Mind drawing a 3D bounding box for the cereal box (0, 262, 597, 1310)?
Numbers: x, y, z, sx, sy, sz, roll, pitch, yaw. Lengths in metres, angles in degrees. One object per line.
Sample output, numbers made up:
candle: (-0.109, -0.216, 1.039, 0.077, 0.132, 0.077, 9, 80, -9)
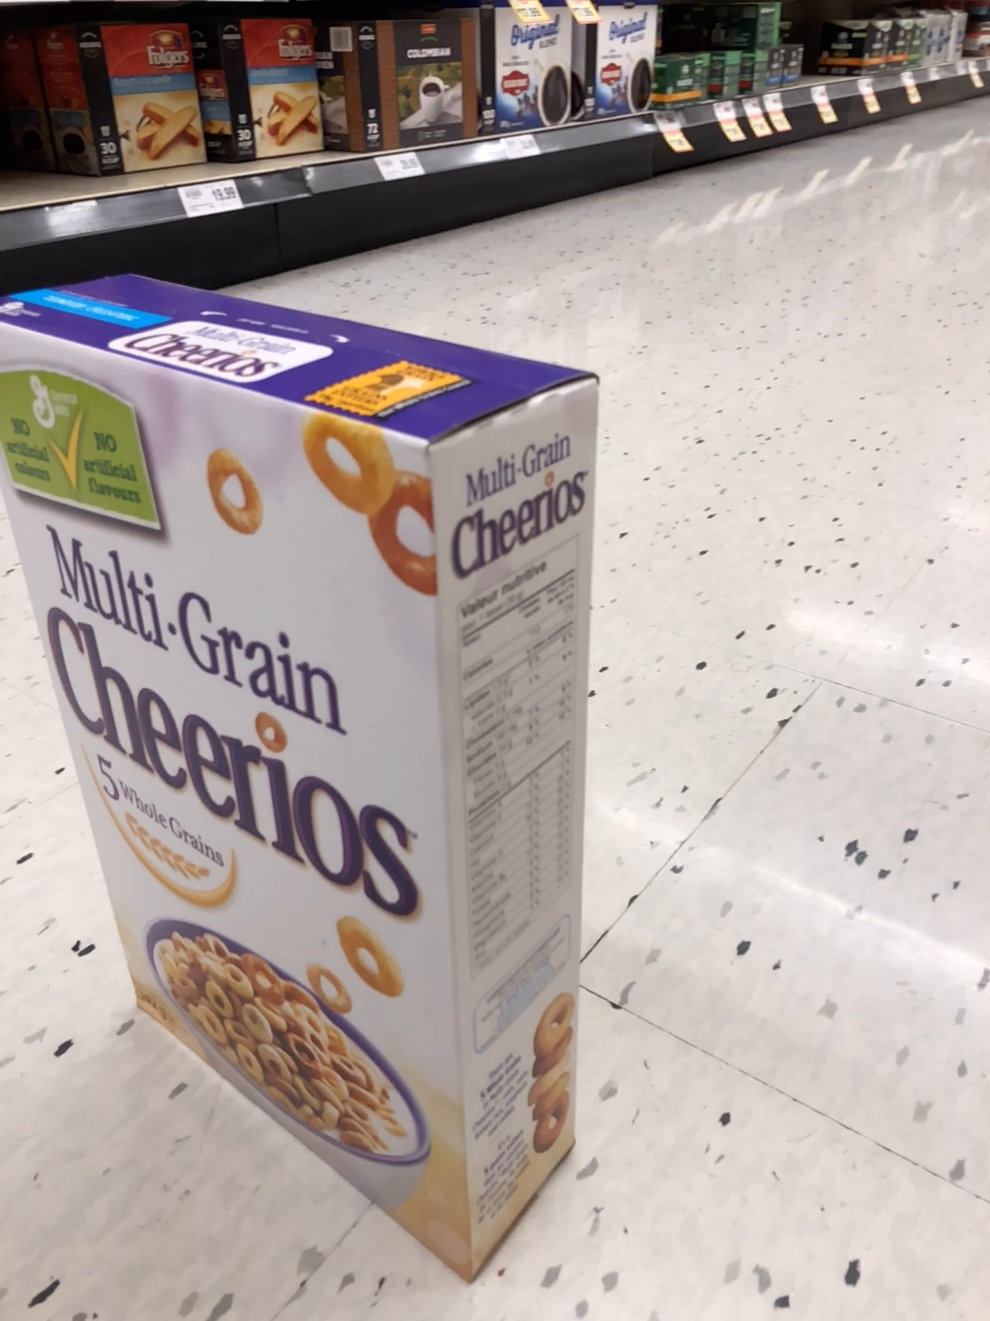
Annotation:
cereal box: (-0.068, 0.045, 0.361, 0.190, 0.308, 0.060, 22, 38, 33)
